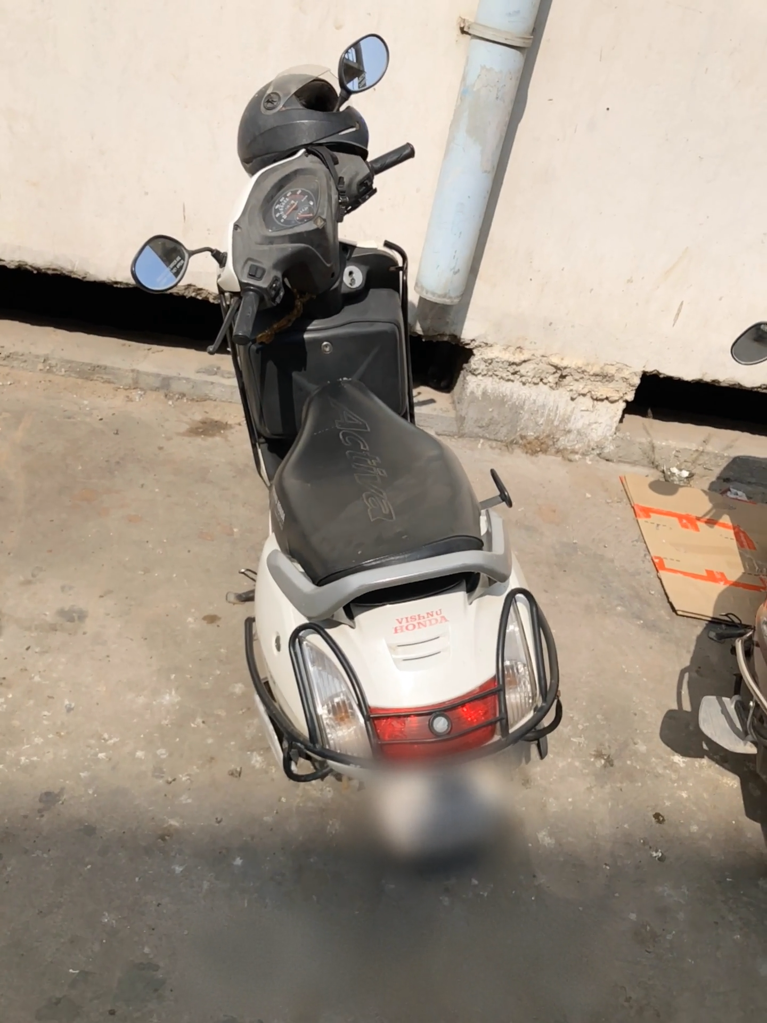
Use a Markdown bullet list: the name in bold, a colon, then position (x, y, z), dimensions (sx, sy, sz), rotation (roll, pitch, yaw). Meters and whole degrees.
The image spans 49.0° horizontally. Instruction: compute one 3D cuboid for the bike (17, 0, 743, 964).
- **bike**: position (-0.249, -0.120, 1.627), dimensions (0.625, 1.122, 1.305), rotation (-5, 41, -26)
